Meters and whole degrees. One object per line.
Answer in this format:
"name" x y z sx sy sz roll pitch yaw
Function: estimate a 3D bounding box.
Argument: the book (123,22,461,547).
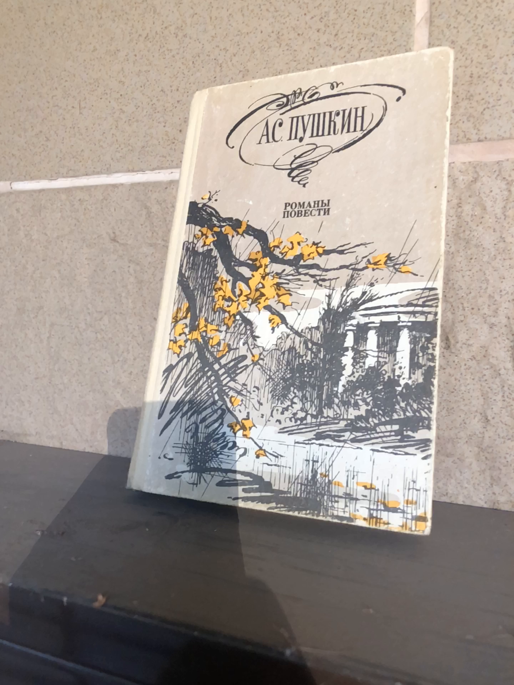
"book" 0.014 -0.028 0.245 0.130 0.199 0.020 2 -9 24
